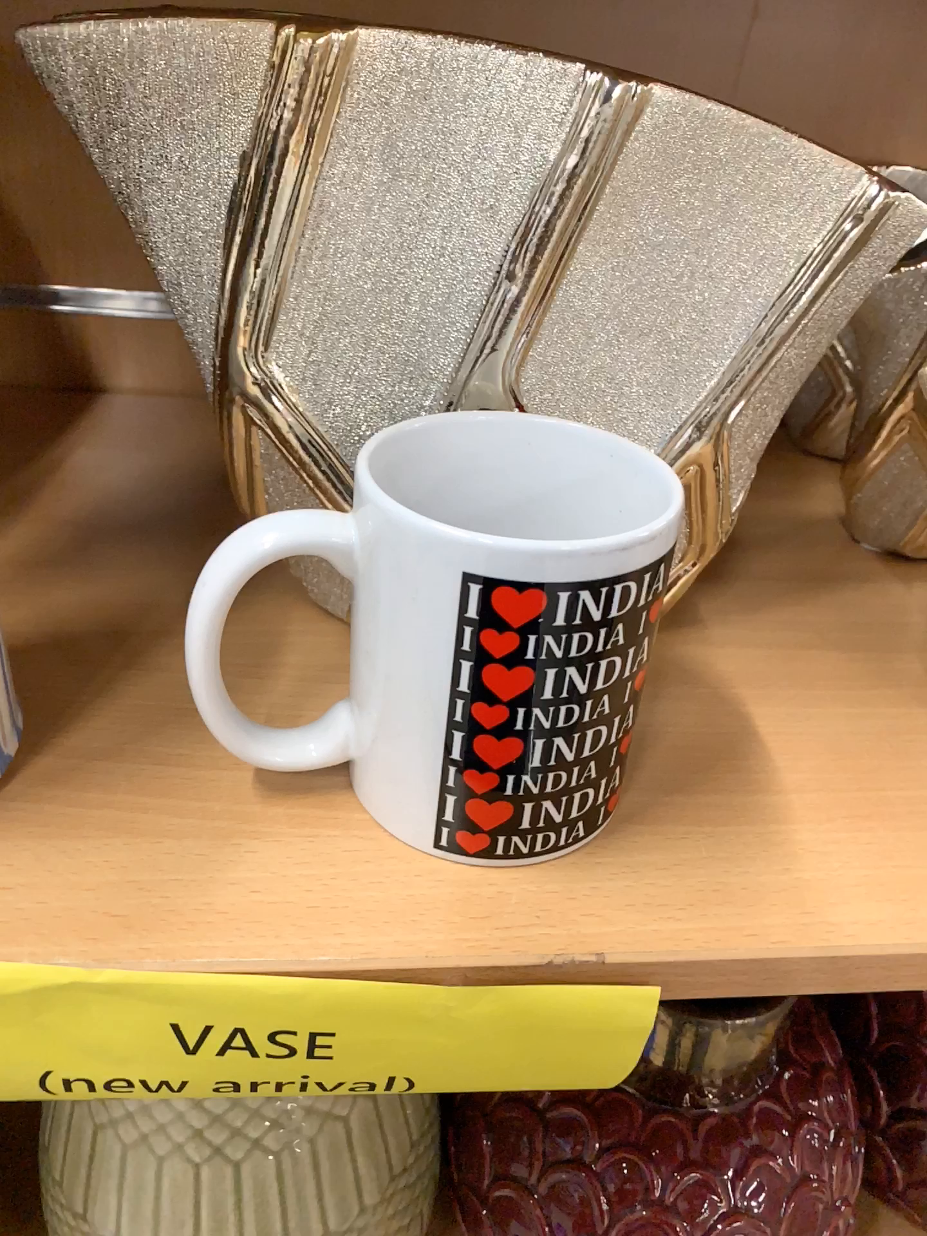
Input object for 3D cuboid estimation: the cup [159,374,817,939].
[{"bbox_3d":[-0.002,0.001,0.243,0.130,0.090,0.090,-9,31,-13],"label":"cup"}]
